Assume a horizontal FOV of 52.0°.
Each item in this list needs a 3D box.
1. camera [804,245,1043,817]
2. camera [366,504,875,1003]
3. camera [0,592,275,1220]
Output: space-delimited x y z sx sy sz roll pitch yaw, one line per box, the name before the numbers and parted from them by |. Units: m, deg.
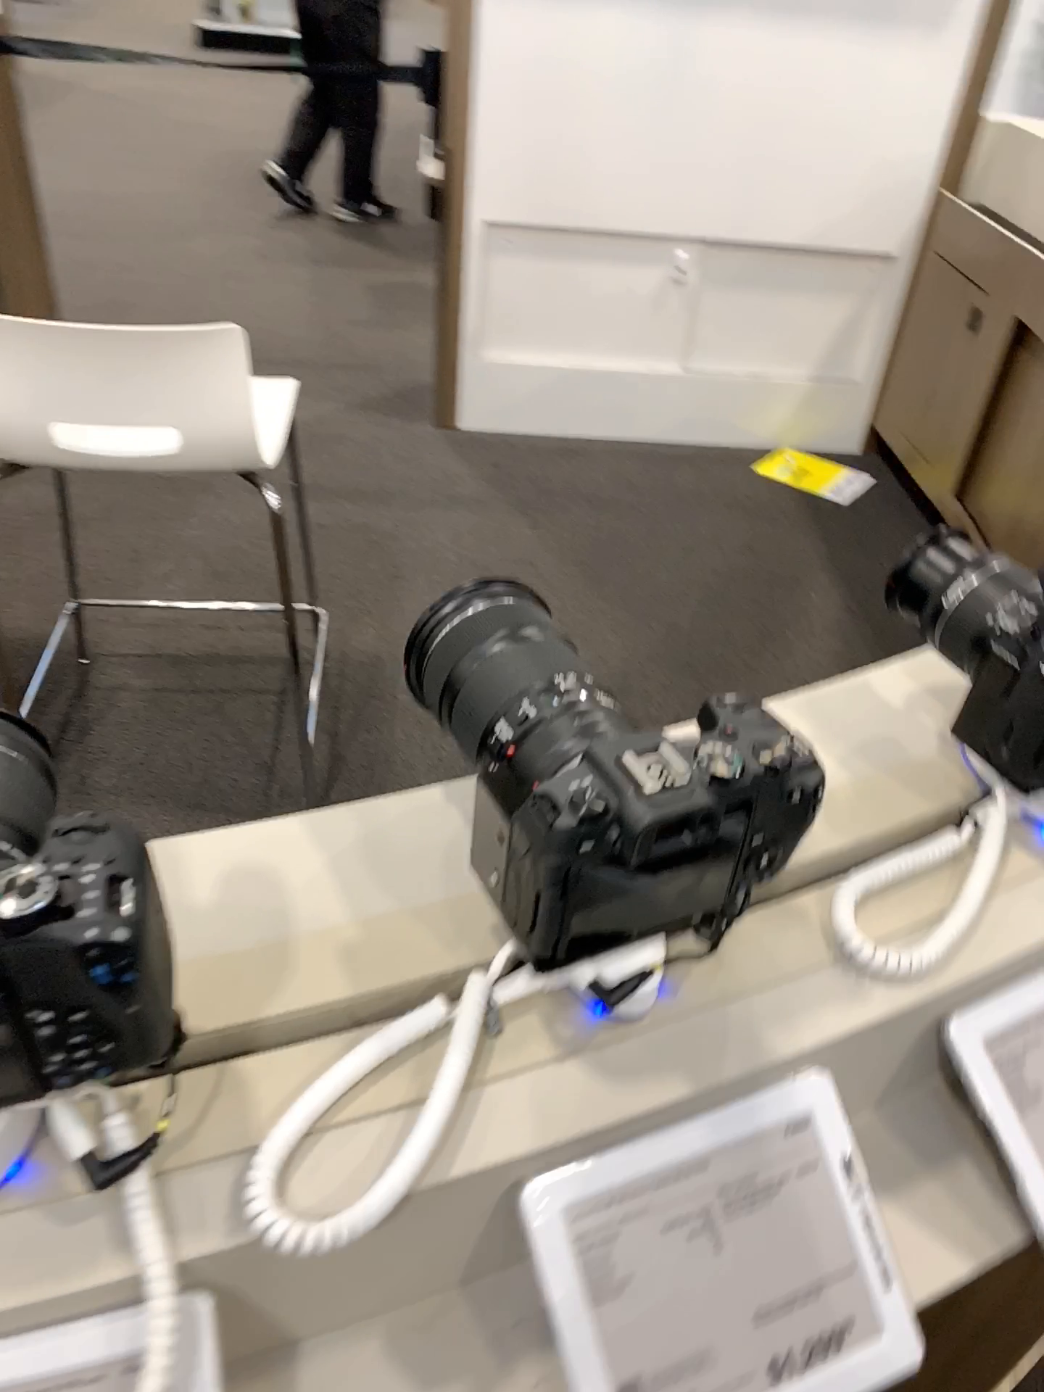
camera | 0.286 -0.092 0.556 0.150 0.219 0.171 -14 42 -25
camera | 0.029 0.011 0.497 0.140 0.099 0.201 -14 41 -24
camera | -0.181 0.063 0.397 0.150 0.119 0.171 -7 39 -16
